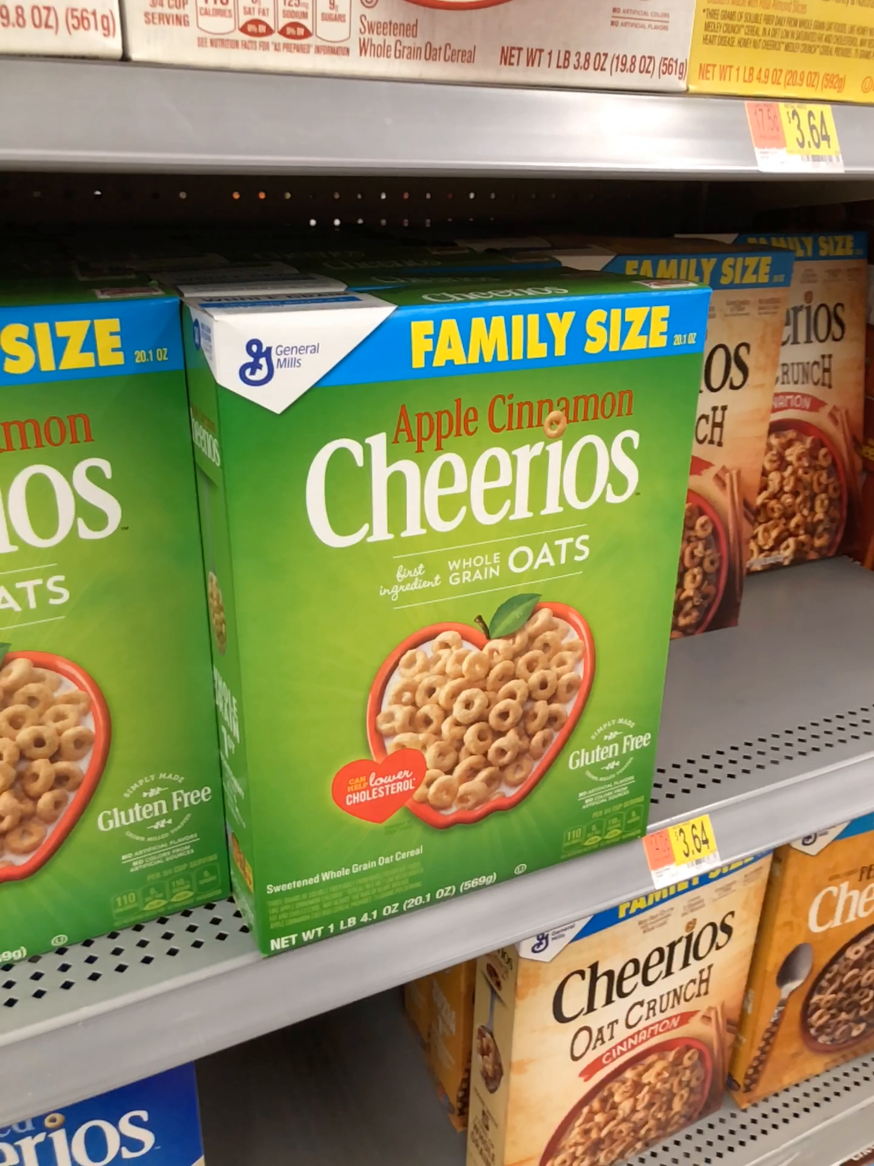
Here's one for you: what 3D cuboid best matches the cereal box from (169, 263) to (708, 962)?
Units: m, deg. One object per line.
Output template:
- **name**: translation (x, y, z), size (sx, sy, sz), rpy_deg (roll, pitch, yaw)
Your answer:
- **cereal box**: translation (0.005, 0.009, 0.475), size (0.230, 0.309, 0.060), rpy_deg (-10, 24, -24)
